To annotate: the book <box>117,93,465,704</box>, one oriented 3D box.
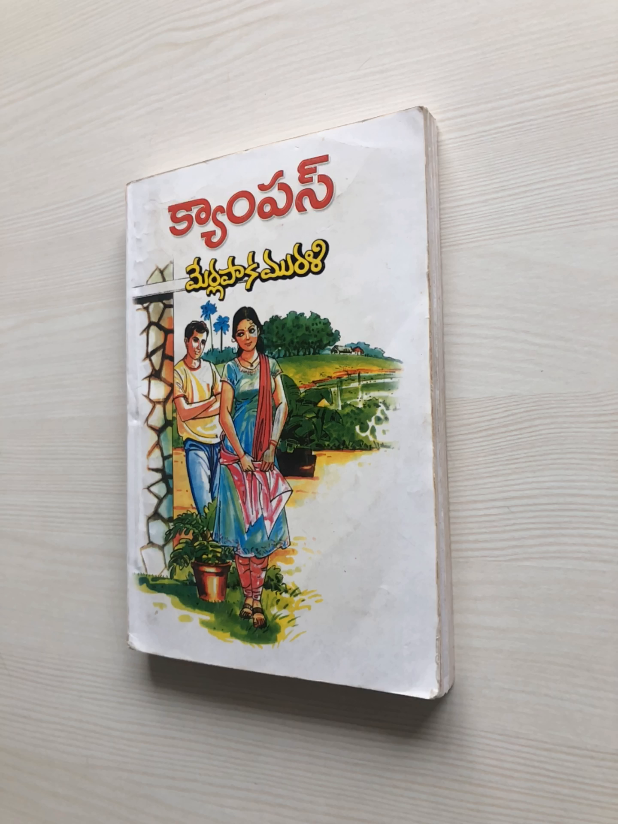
[{"bbox_3d":[-0.012,-0.003,0.217,0.113,0.016,0.163,-3,87,28],"label":"book"}]
